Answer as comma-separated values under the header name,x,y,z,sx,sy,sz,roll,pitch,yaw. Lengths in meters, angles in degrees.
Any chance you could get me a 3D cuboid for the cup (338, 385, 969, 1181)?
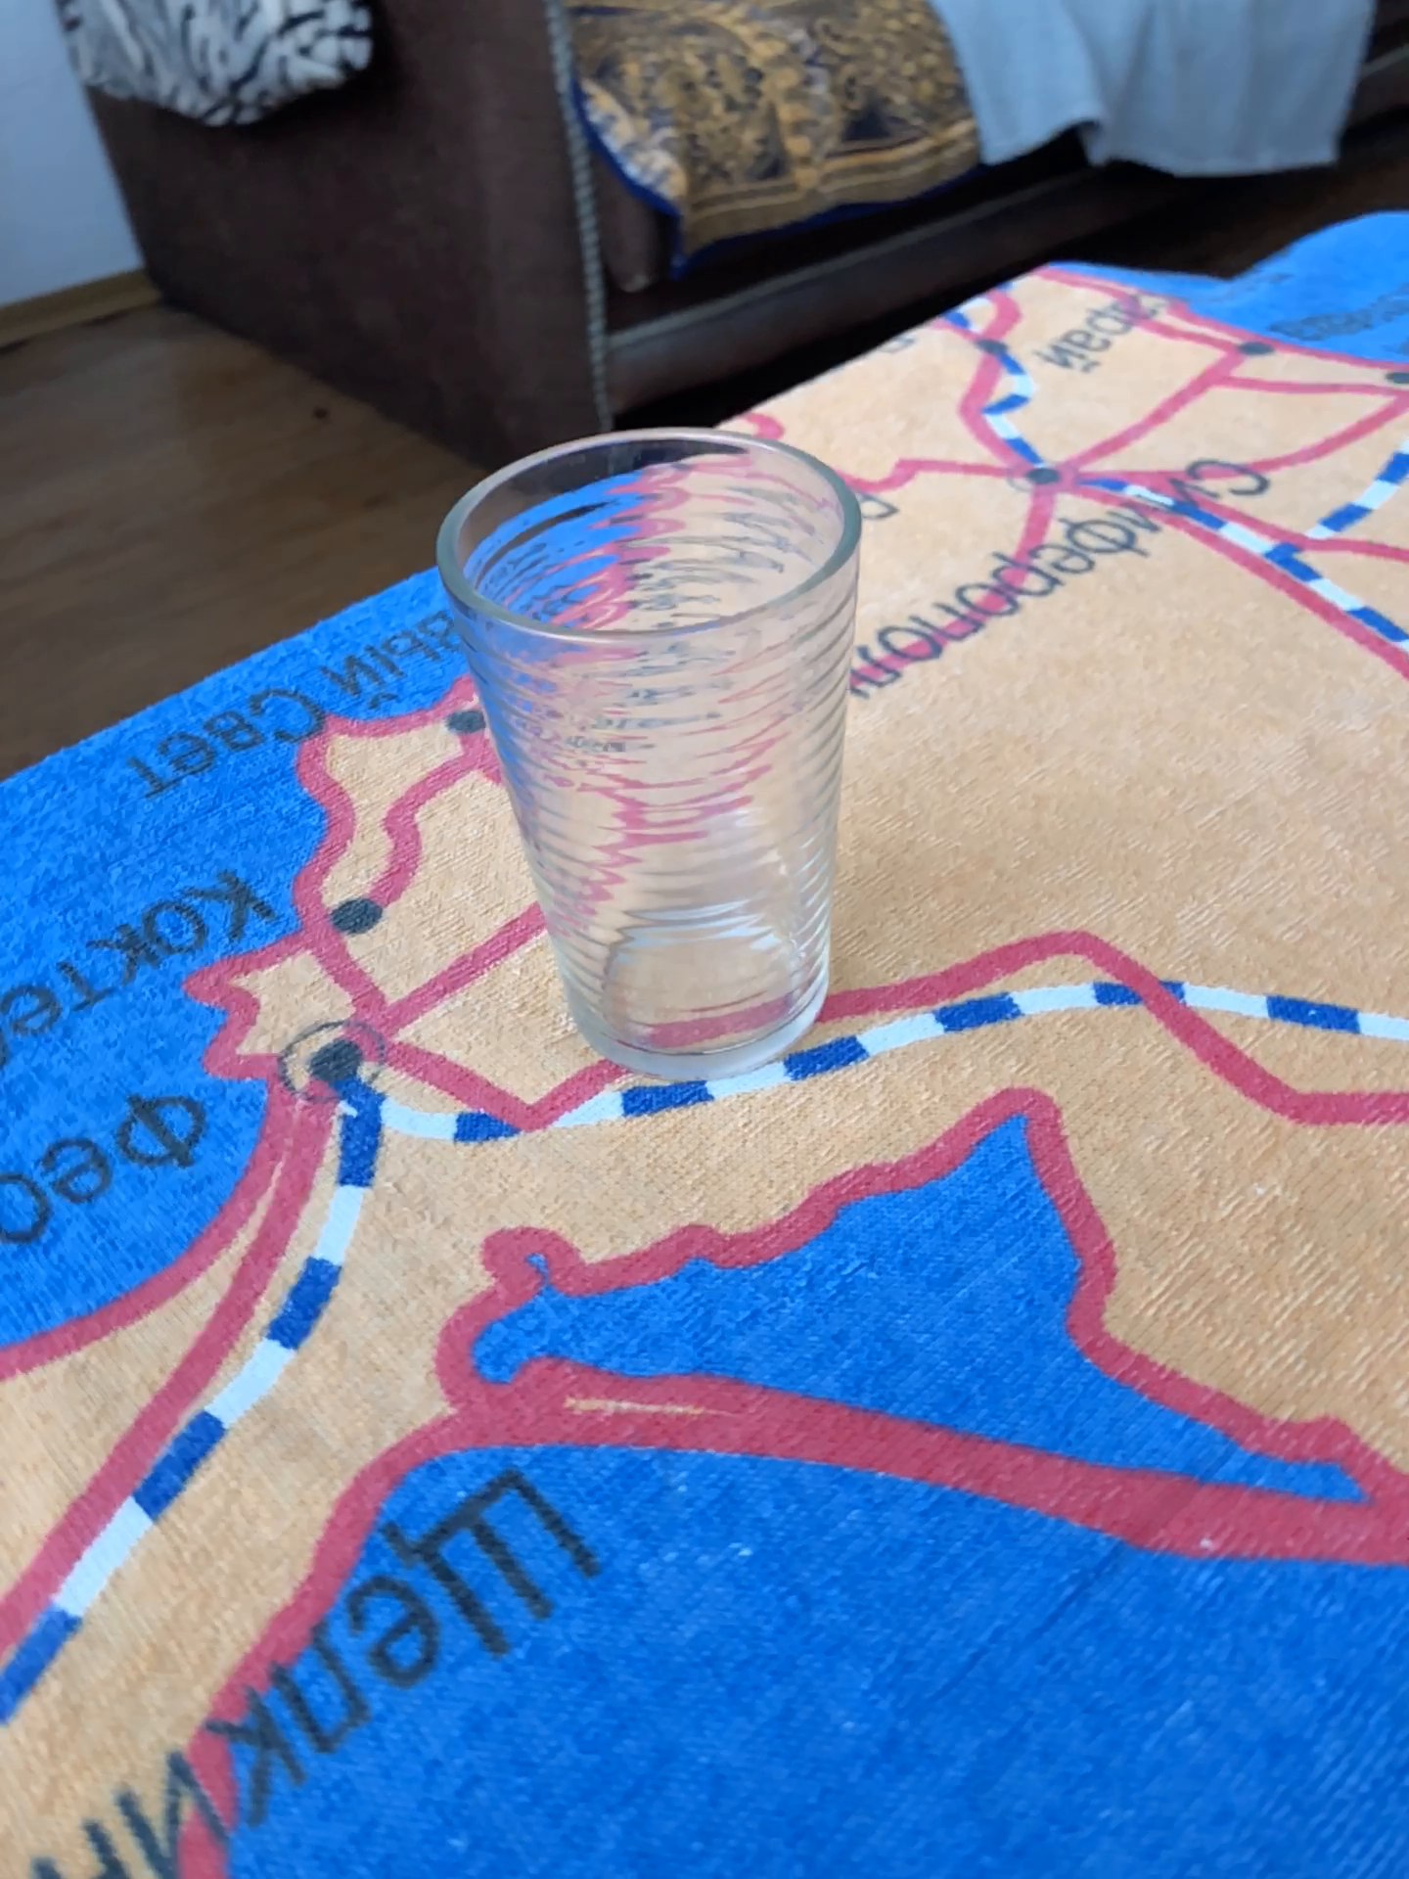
name,x,y,z,sx,sy,sz,roll,pitch,yaw
cup,-0.006,-0.028,0.272,0.068,0.099,0.070,-2,42,2
